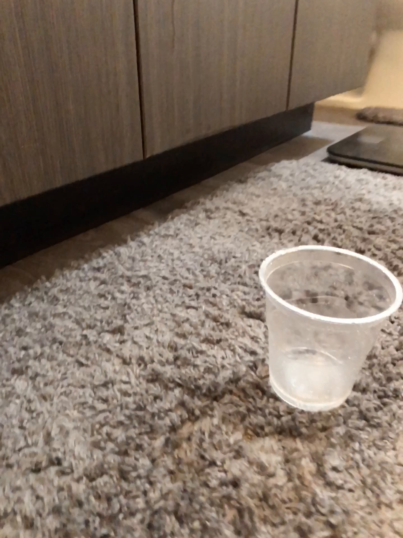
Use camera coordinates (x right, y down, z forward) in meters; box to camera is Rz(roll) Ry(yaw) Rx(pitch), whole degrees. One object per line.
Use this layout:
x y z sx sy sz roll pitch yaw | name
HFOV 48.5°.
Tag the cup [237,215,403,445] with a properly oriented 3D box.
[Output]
0.088 0.031 0.290 0.090 0.090 0.090 0 29 0 | cup
